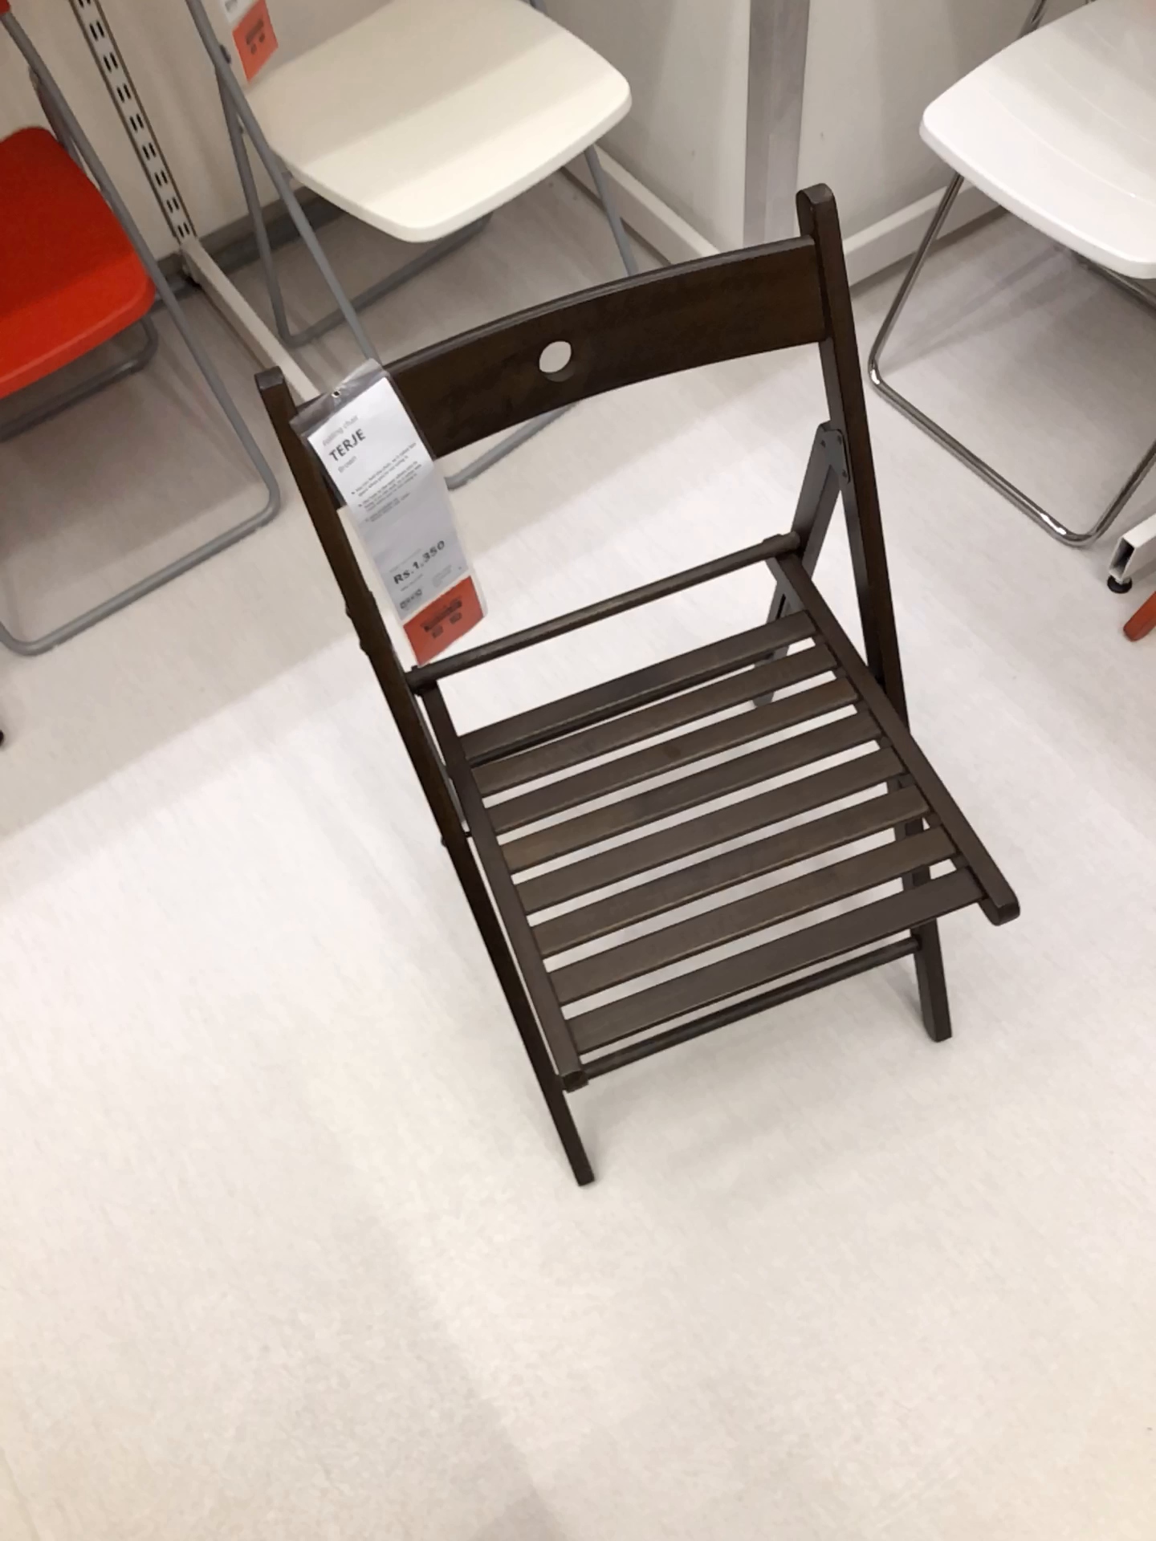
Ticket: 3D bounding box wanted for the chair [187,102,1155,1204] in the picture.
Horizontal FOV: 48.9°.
[{"bbox_3d":[0.069,-0.016,1.118,0.460,0.776,0.502,-21,62,-5],"label":"chair"}]
